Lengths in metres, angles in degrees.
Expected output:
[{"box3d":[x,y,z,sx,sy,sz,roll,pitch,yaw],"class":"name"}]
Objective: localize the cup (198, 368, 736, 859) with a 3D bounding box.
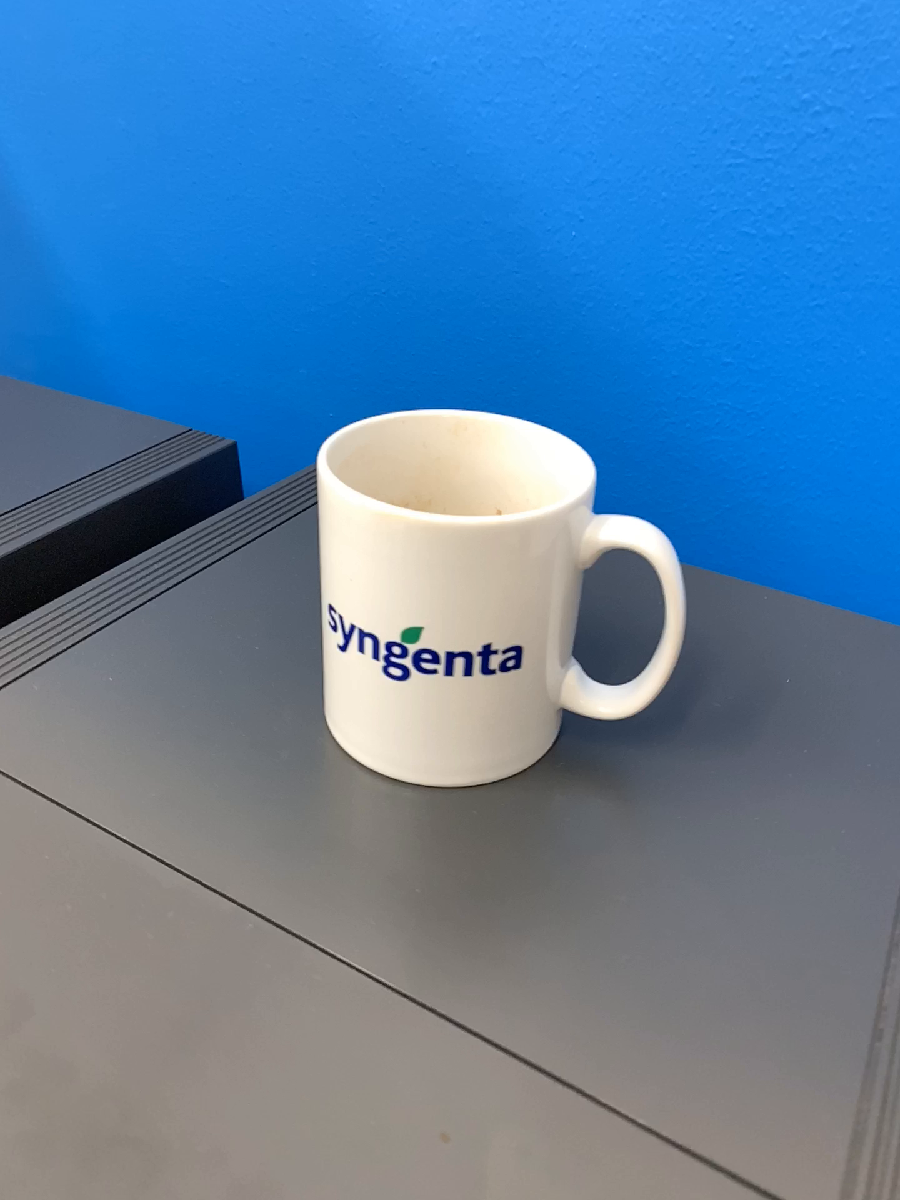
[{"box3d":[0.009,-0.003,0.284,0.131,0.094,0.089,12,33,13],"class":"cup"}]
